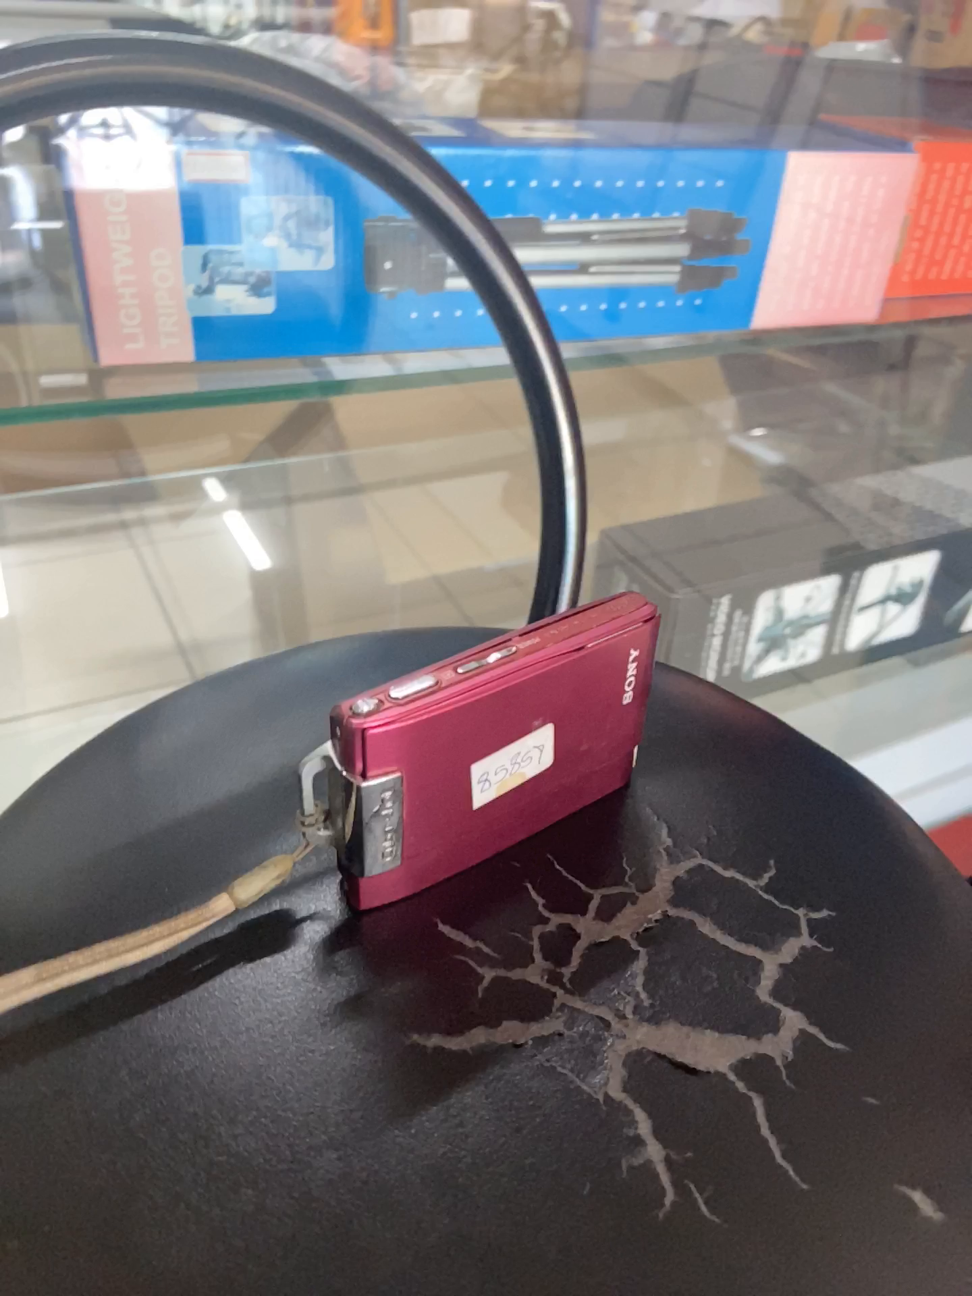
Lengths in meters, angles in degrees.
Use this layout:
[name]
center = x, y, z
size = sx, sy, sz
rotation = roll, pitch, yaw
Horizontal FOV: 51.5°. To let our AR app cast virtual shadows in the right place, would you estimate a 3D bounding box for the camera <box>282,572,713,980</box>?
[camera]
center = 0.004, 0.027, 0.244
size = 0.100, 0.060, 0.030
rotation = -21, 41, -32
